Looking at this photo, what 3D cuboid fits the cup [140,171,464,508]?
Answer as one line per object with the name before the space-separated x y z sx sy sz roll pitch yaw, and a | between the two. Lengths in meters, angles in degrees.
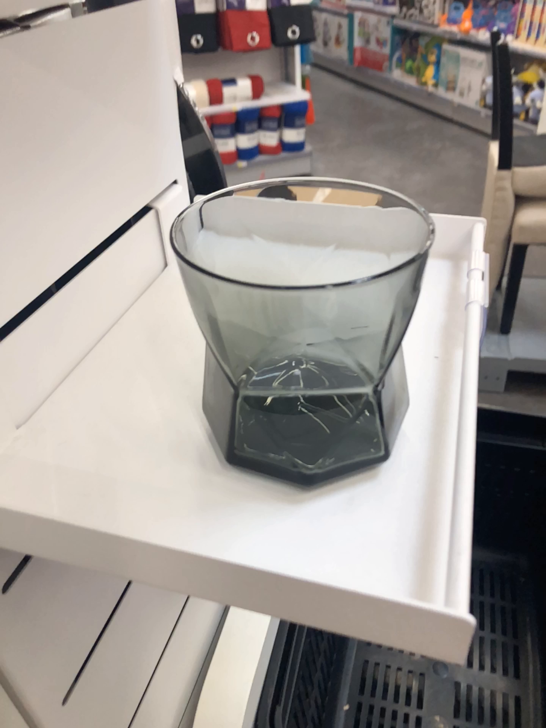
cup | 0.006 -0.014 0.224 0.088 0.080 0.094 -2 35 1
